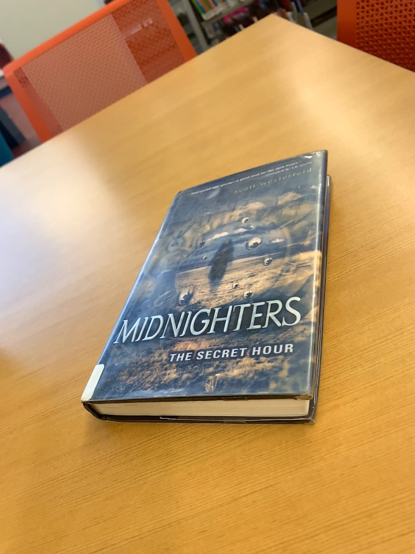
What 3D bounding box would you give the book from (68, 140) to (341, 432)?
[{"bbox_3d":[0.012,-0.004,0.311,0.152,0.035,0.221,-9,43,28],"label":"book"}]
